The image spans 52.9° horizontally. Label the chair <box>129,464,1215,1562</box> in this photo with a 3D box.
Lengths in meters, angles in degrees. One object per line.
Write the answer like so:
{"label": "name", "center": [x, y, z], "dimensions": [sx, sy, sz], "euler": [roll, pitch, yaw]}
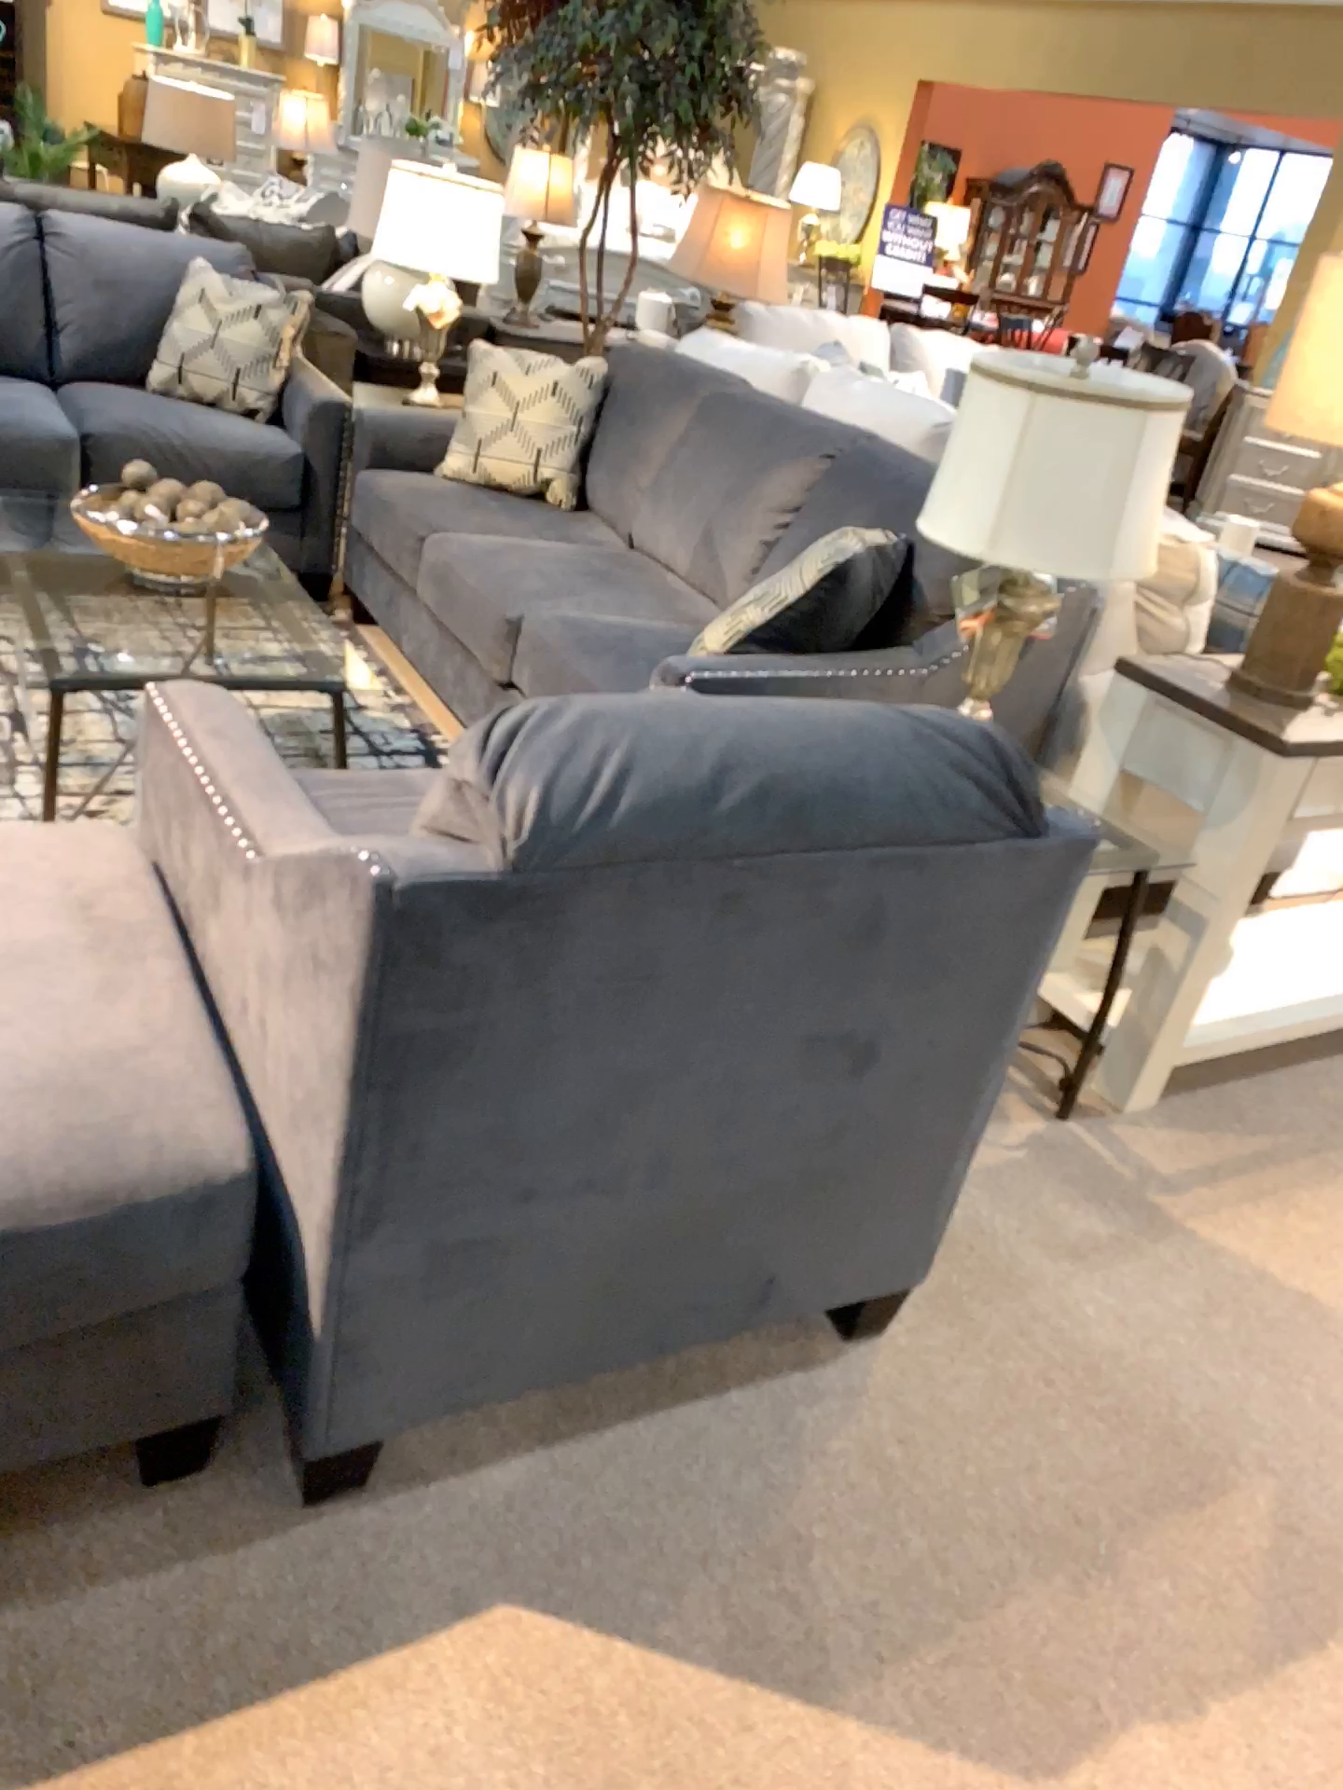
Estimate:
{"label": "chair", "center": [-0.125, 0.030, 1.742], "dimensions": [0.921, 0.840, 0.961], "euler": [-5, 32, -30]}
